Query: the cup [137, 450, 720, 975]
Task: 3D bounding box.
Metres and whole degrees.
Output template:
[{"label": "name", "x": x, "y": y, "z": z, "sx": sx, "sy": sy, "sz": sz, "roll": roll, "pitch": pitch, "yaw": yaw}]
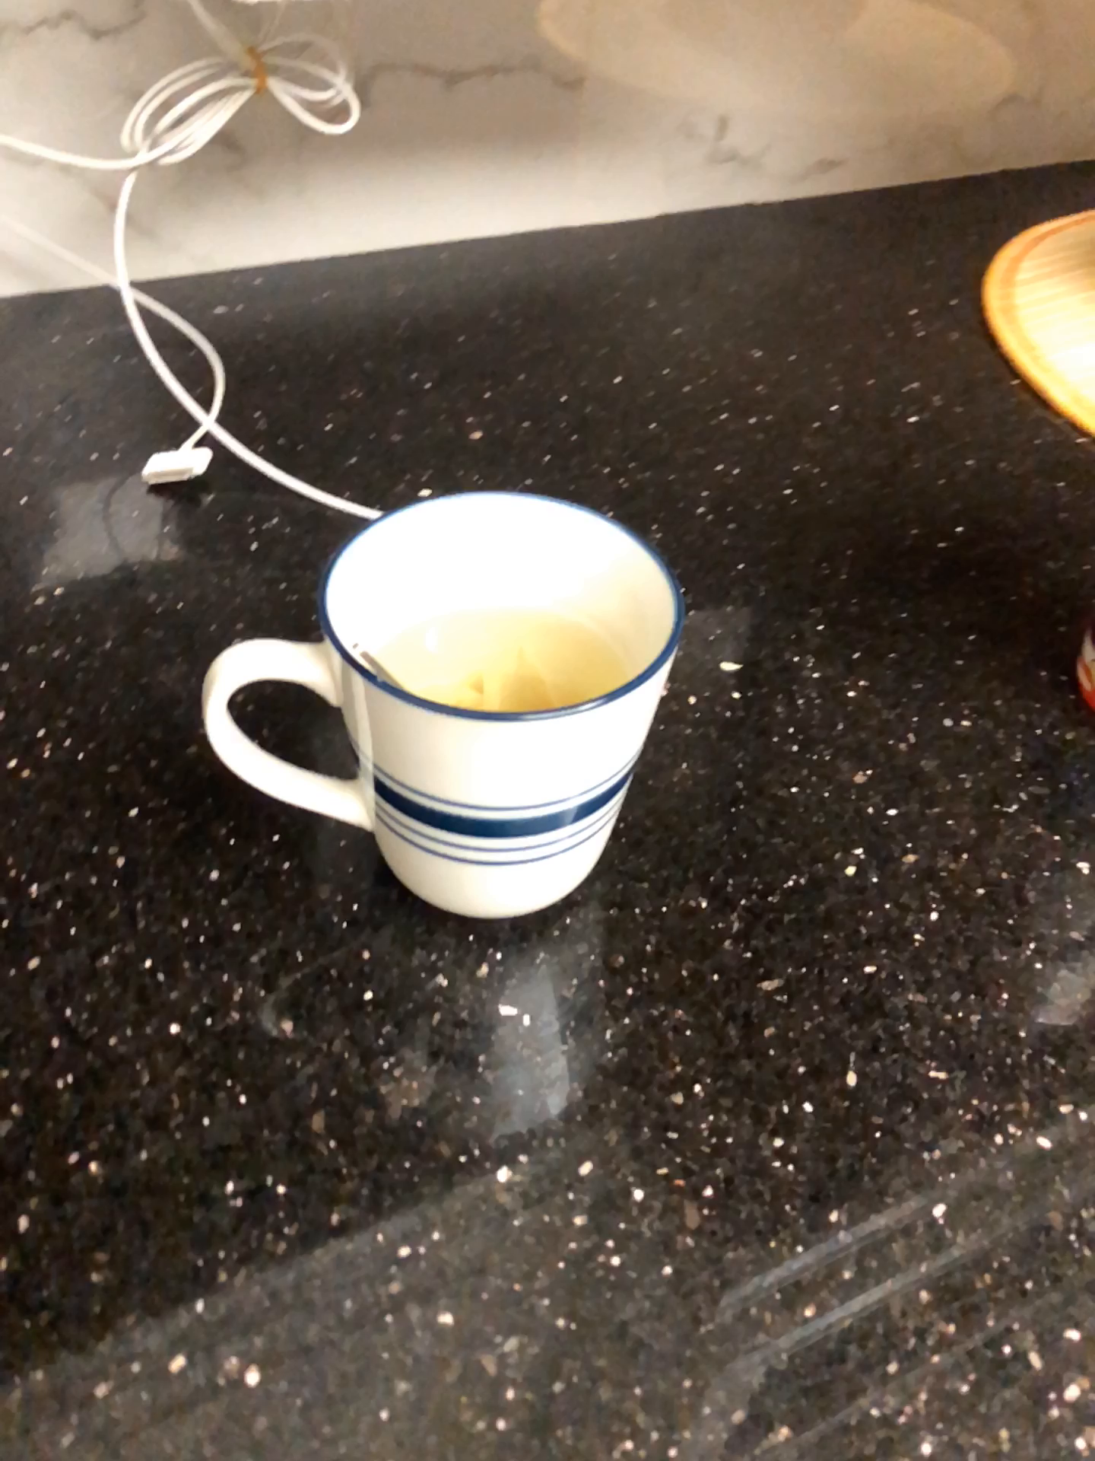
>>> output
[{"label": "cup", "x": -0.031, "y": -0.006, "z": 0.316, "sx": 0.120, "sy": 0.099, "sz": 0.090, "roll": -2, "pitch": 45, "yaw": -7}]
